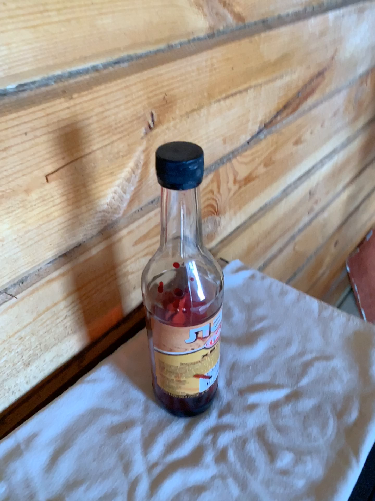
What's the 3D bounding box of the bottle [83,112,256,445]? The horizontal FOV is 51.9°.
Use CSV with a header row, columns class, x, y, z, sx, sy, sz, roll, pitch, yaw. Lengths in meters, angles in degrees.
class,x,y,z,sx,sy,sz,roll,pitch,yaw
bottle,-0.003,0.038,0.304,0.070,0.257,0.081,17,42,23
